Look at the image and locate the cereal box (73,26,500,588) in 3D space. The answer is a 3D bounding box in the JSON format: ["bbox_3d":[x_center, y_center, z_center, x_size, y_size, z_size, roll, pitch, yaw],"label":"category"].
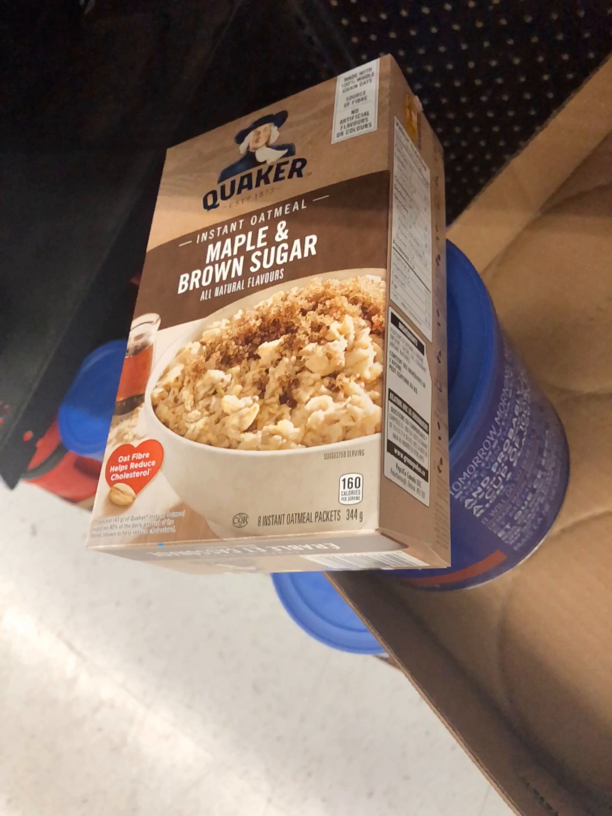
[{"bbox_3d":[-0.003,-0.033,0.289,0.141,0.070,0.200,-9,64,29],"label":"cereal box"}]
